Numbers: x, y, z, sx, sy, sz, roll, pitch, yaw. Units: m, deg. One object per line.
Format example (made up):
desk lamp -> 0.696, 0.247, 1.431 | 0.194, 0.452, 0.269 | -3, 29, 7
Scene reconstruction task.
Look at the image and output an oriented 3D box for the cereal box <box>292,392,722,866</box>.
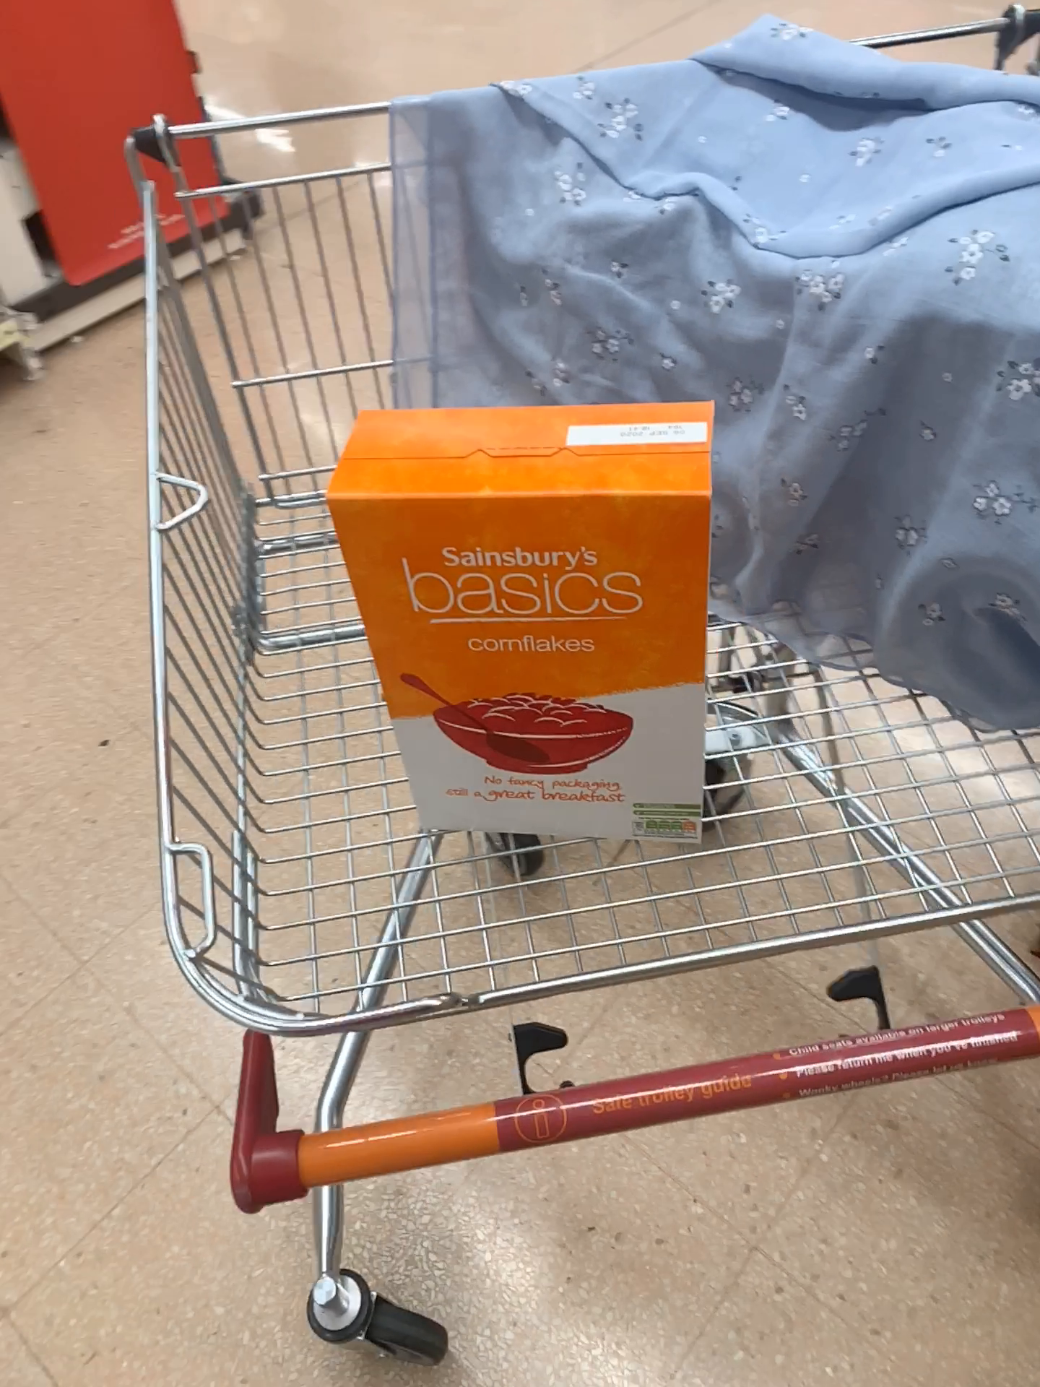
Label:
cereal box -> 0.012, -0.022, 0.645 | 0.210, 0.307, 0.081 | 1, 46, 10
